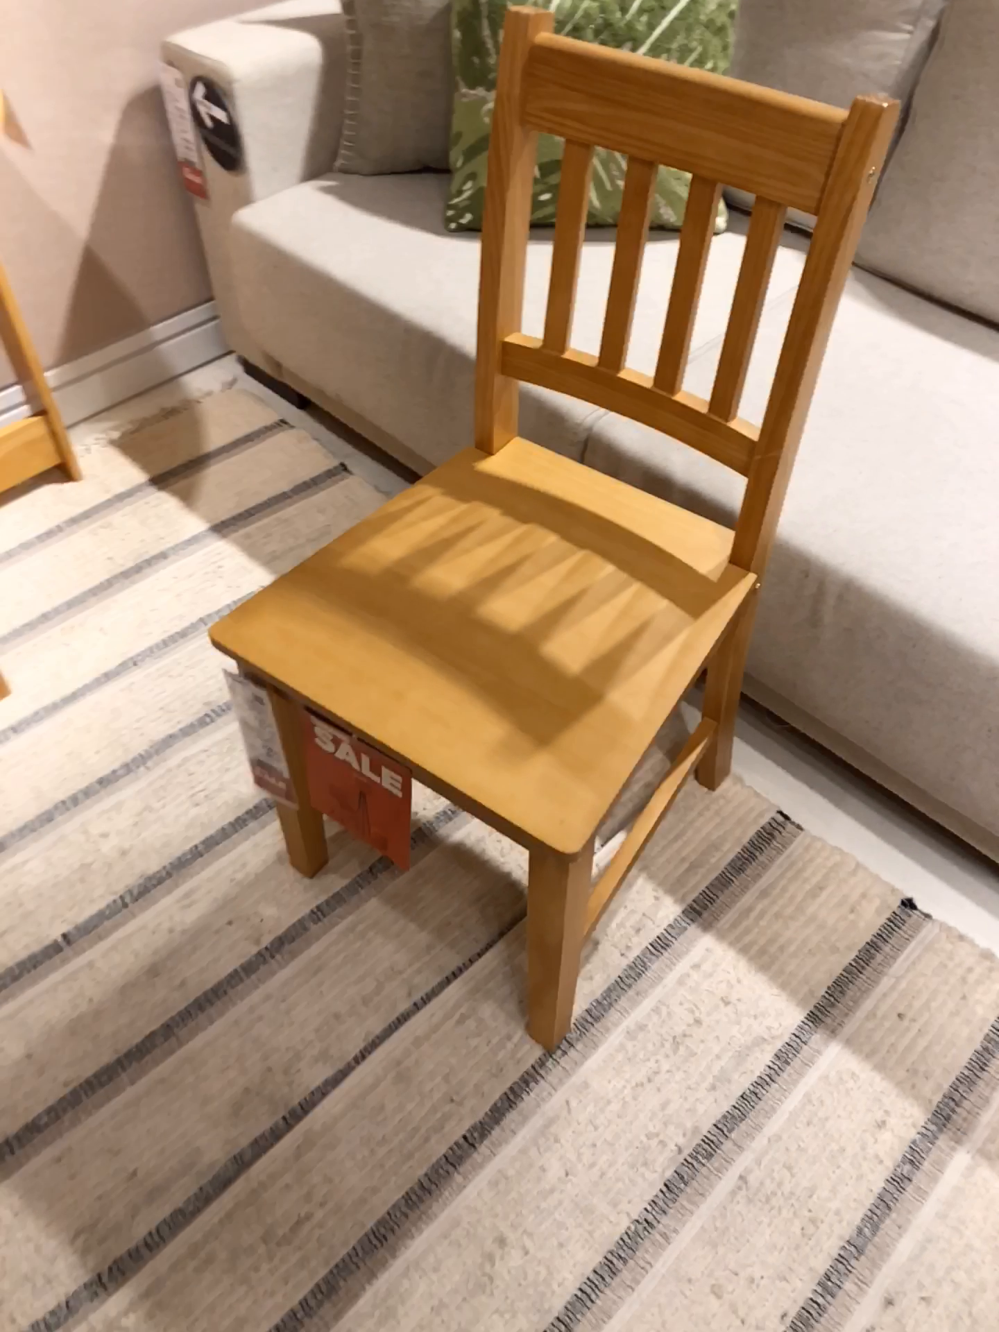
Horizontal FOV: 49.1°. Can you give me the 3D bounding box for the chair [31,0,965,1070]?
[{"bbox_3d":[0.022,-0.101,1.095,0.461,0.814,0.523,28,54,23],"label":"chair"}]
